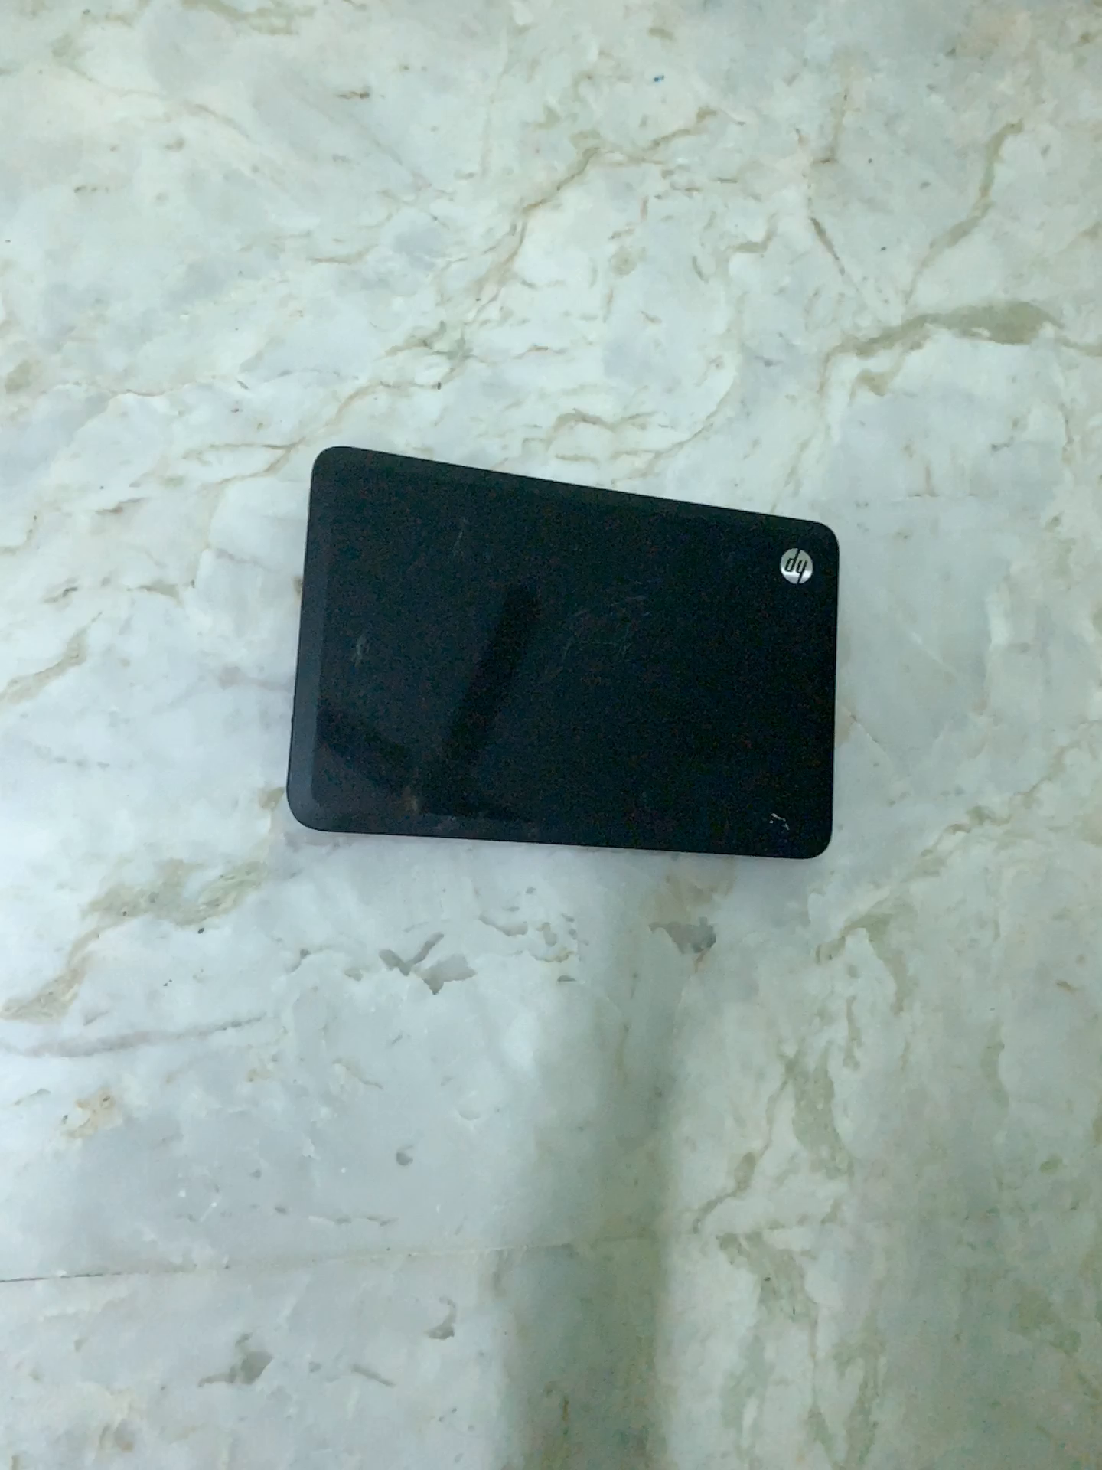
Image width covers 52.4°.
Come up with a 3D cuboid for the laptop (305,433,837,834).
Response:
[{"bbox_3d":[0.022,-0.059,0.708,0.333,0.022,0.221,5,76,-16],"label":"laptop"}]
